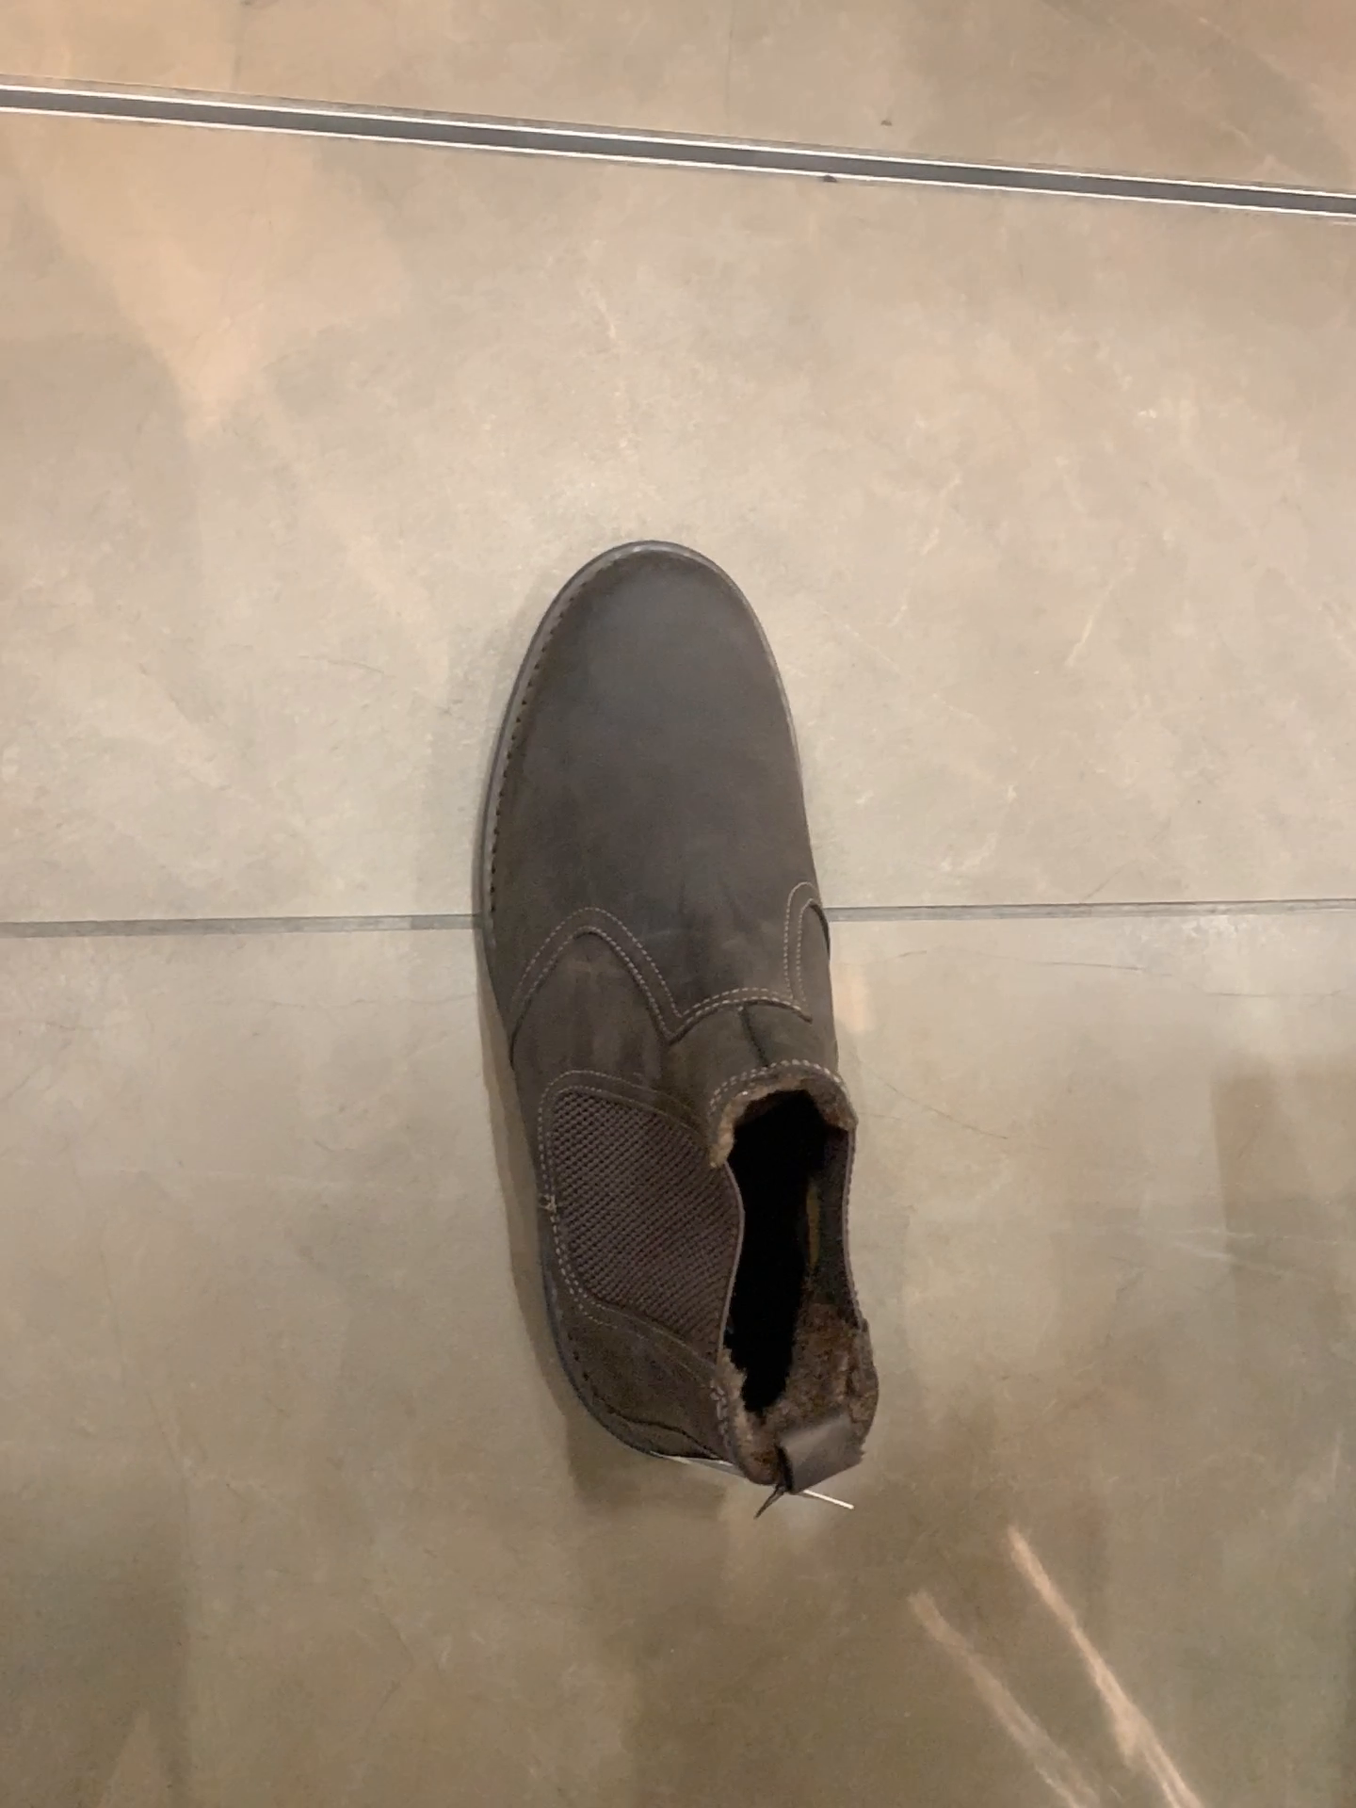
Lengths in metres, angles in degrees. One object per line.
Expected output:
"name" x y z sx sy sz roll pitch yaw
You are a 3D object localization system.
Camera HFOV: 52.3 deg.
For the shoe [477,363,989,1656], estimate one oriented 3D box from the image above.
"shoe" -0.001 0.026 0.415 0.114 0.166 0.304 0 81 -10
